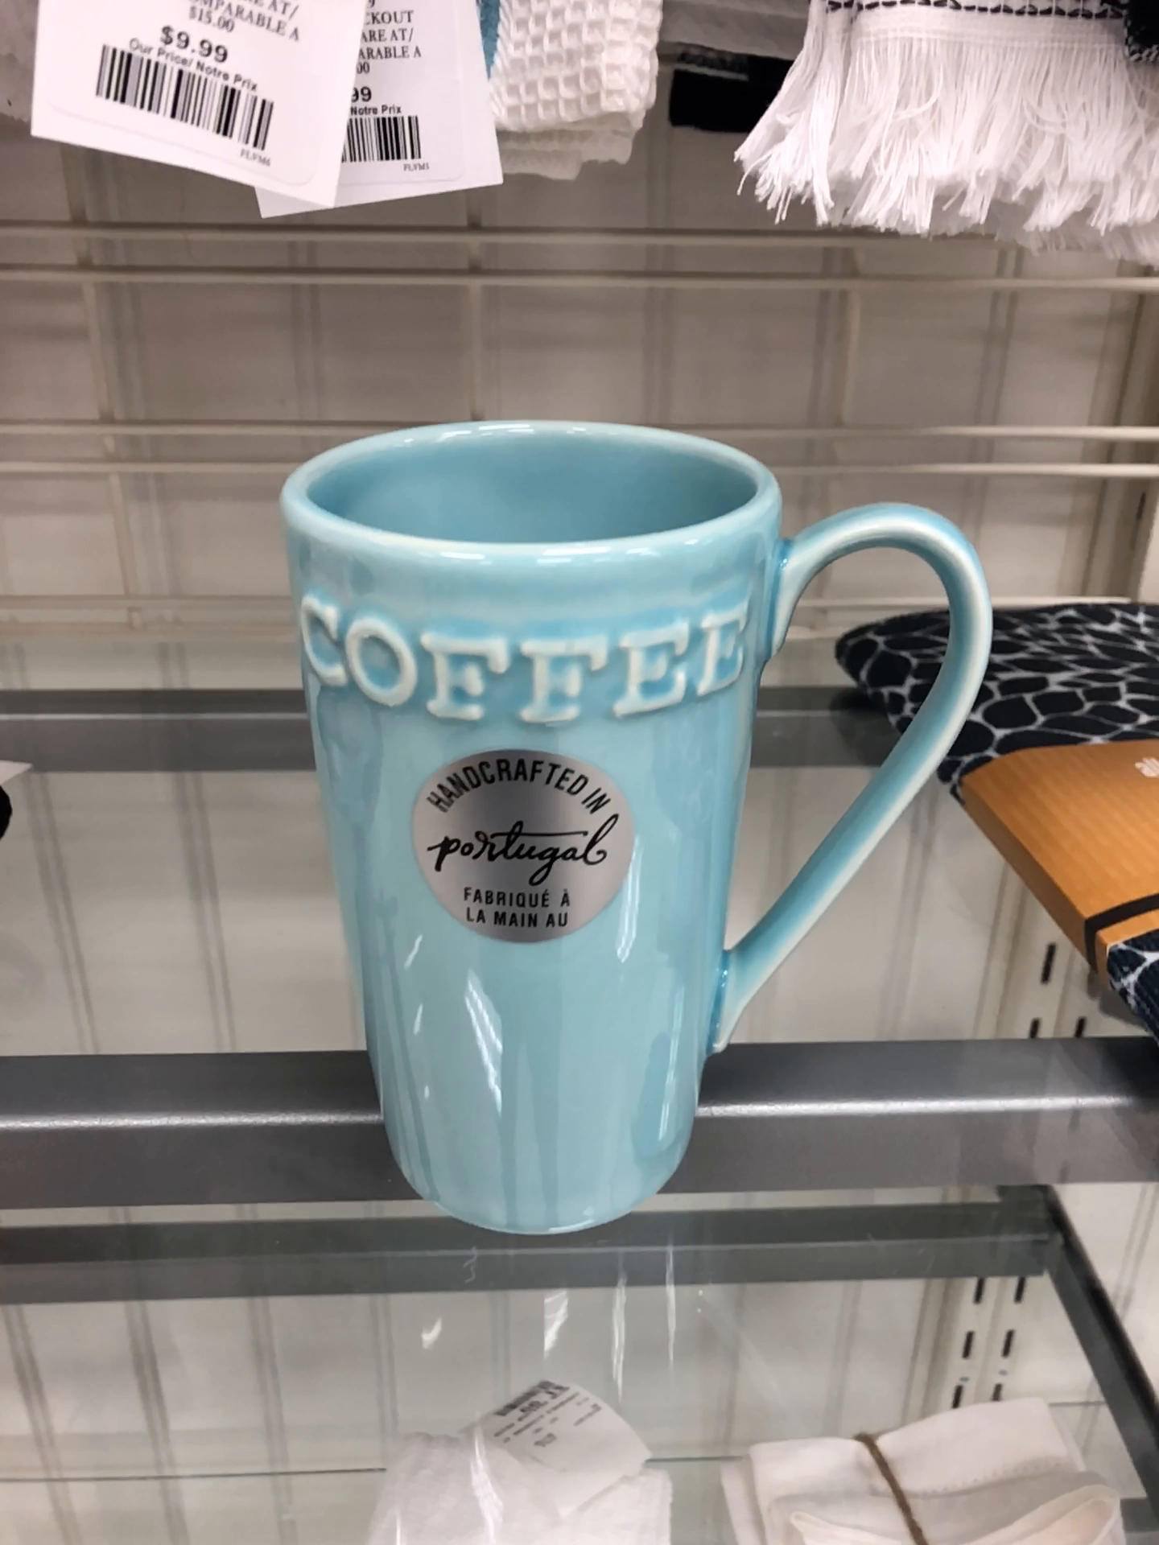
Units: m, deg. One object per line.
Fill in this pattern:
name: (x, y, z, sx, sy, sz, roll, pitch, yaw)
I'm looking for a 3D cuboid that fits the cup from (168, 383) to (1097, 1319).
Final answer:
cup: (0.011, 0.008, 0.249, 0.130, 0.139, 0.091, 6, 27, 10)
